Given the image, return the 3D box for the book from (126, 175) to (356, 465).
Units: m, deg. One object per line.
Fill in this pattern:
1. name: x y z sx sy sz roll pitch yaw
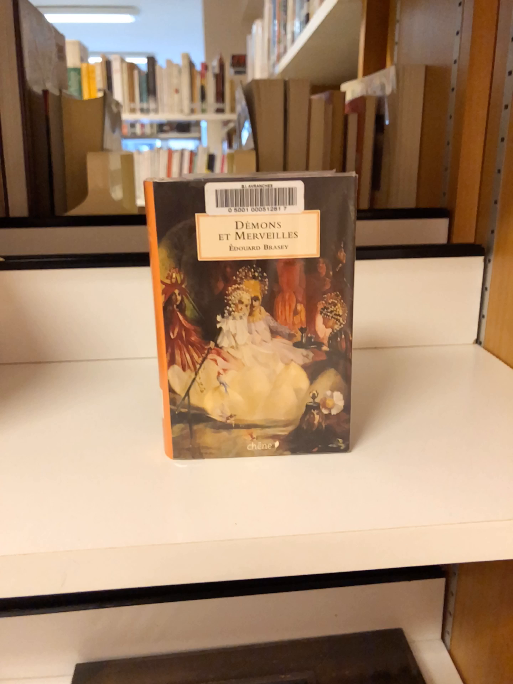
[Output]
1. book: -0.007 -0.014 0.326 0.114 0.155 0.047 -2 16 -3
